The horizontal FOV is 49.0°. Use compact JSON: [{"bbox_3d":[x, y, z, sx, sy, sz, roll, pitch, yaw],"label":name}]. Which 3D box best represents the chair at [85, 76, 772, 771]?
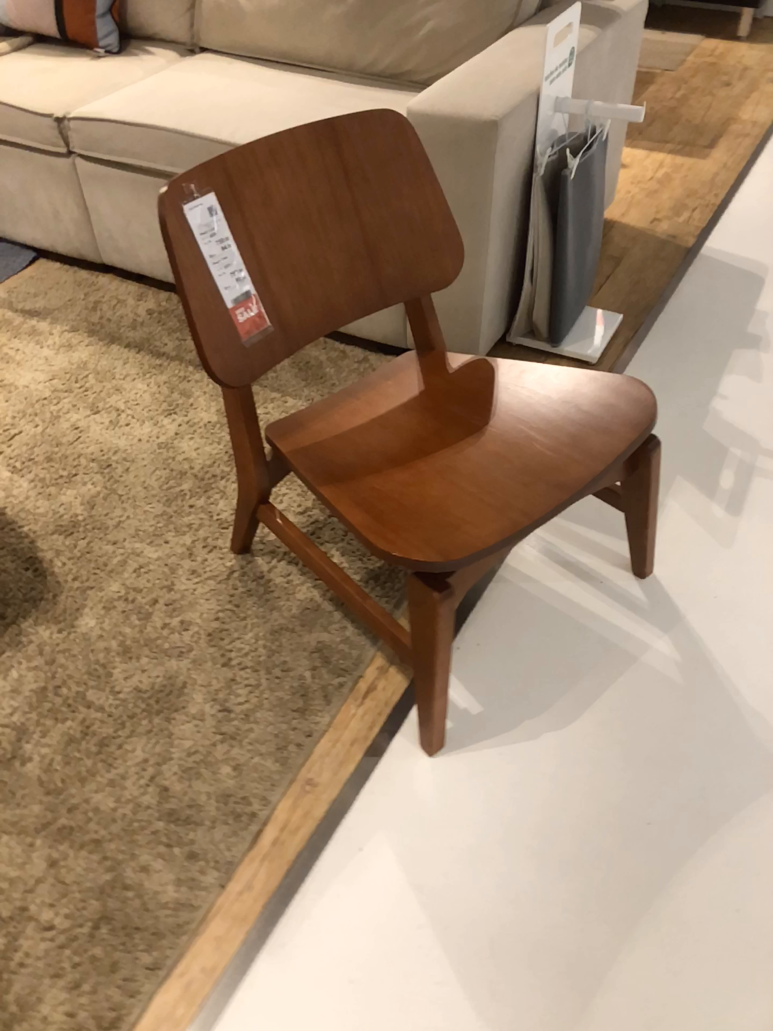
[{"bbox_3d":[0.045,-0.175,1.284,0.582,0.655,0.633,-32,51,-28],"label":"chair"}]
